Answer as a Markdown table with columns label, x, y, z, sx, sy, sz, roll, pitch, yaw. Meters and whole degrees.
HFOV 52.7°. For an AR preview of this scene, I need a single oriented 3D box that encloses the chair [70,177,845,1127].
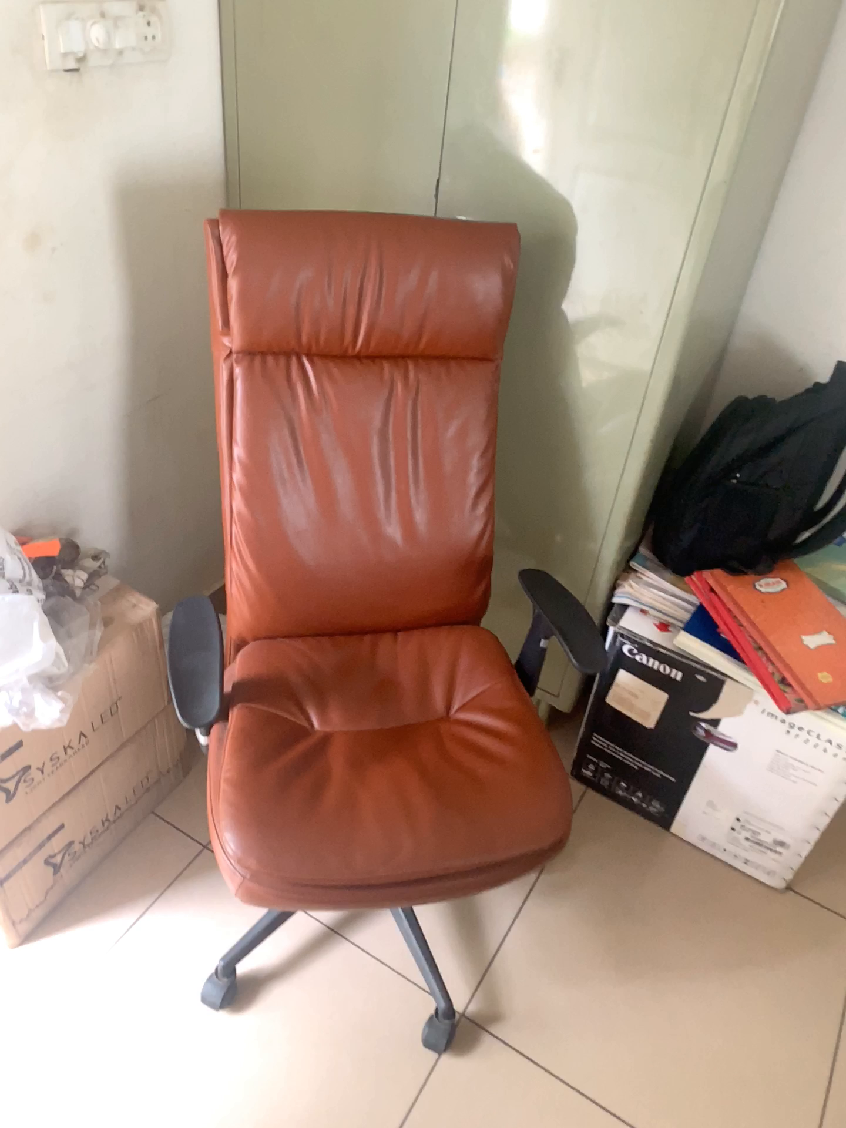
| label | x | y | z | sx | sy | sz | roll | pitch | yaw |
| --- | --- | --- | --- | --- | --- | --- | --- | --- | --- |
| chair | -0.056 | 0.109 | 1.360 | 0.690 | 1.085 | 0.934 | -3 | 40 | -12 |
